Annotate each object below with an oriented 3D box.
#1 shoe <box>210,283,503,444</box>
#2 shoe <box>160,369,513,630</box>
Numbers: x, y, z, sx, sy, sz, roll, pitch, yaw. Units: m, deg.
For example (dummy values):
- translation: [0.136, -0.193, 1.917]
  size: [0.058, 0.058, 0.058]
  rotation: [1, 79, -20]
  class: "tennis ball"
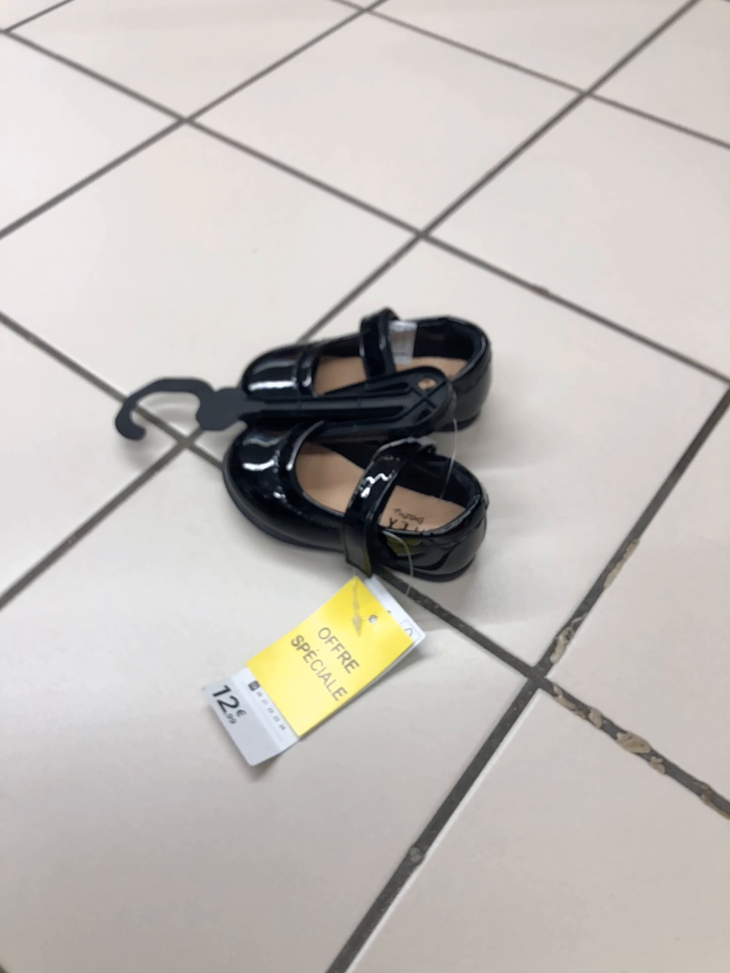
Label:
- translation: [-0.004, -0.059, 0.388]
  size: [0.127, 0.048, 0.060]
  rotation: [0, 54, 0]
  class: "shoe"
- translation: [-0.011, 0.004, 0.348]
  size: [0.130, 0.048, 0.060]
  rotation: [18, 56, 12]
  class: "shoe"
